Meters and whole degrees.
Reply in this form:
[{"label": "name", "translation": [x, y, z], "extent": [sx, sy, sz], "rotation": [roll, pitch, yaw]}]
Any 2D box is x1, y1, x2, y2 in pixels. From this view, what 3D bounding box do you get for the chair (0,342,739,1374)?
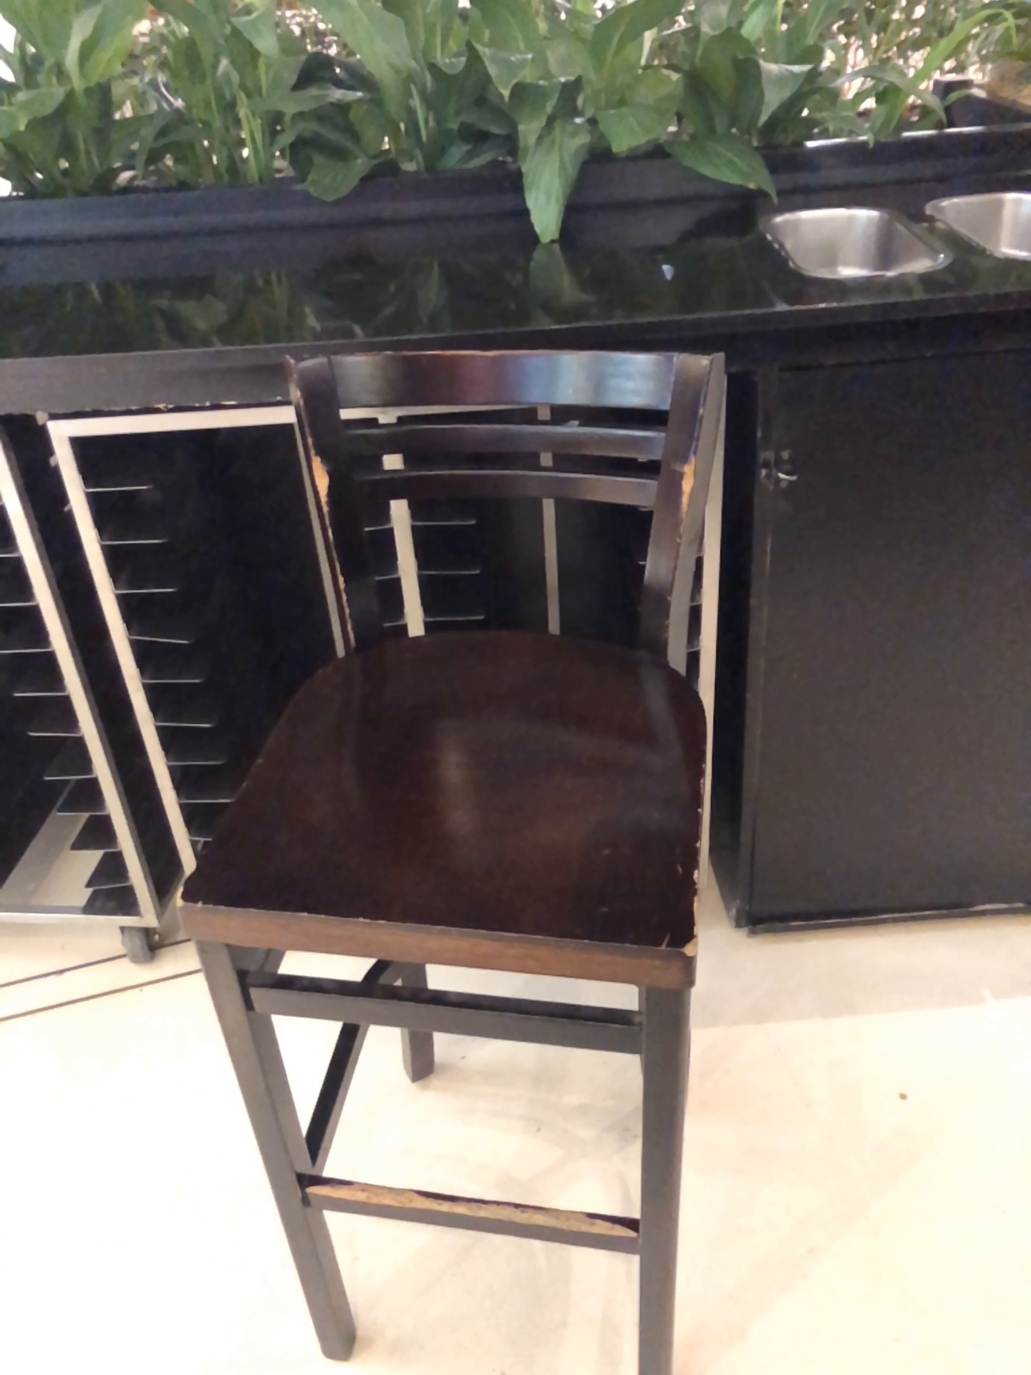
[{"label": "chair", "translation": [-0.034, 0.205, 1.068], "extent": [0.440, 0.913, 0.453], "rotation": [2, 34, 11]}]
